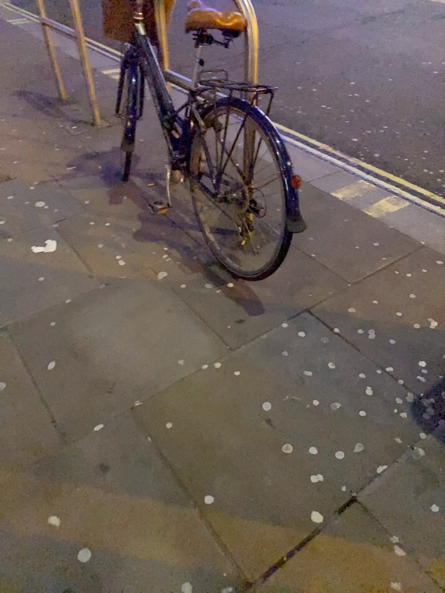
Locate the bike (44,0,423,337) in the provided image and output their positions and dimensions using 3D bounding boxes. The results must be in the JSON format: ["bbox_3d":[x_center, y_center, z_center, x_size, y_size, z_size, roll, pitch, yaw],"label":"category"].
[{"bbox_3d":[-0.147,-0.827,2.030,0.660,1.063,1.717,-21,43,-20],"label":"bike"}]
